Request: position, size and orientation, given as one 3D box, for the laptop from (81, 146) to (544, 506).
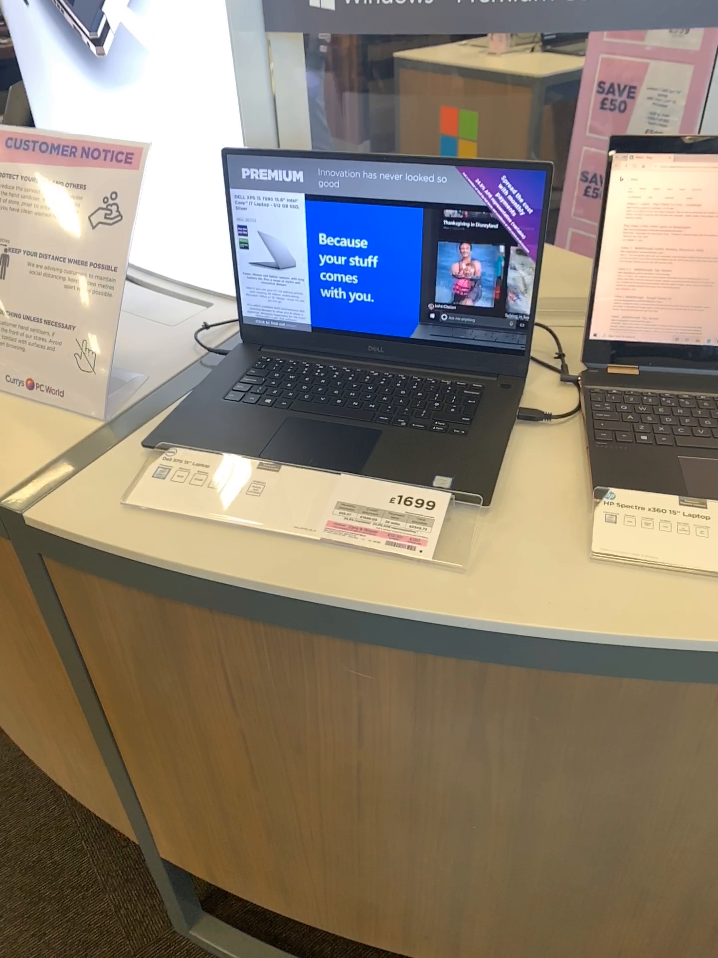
[{"bbox_3d":[-0.022,-0.169,0.723,0.351,0.224,0.255,10,38,15],"label":"laptop"}]
